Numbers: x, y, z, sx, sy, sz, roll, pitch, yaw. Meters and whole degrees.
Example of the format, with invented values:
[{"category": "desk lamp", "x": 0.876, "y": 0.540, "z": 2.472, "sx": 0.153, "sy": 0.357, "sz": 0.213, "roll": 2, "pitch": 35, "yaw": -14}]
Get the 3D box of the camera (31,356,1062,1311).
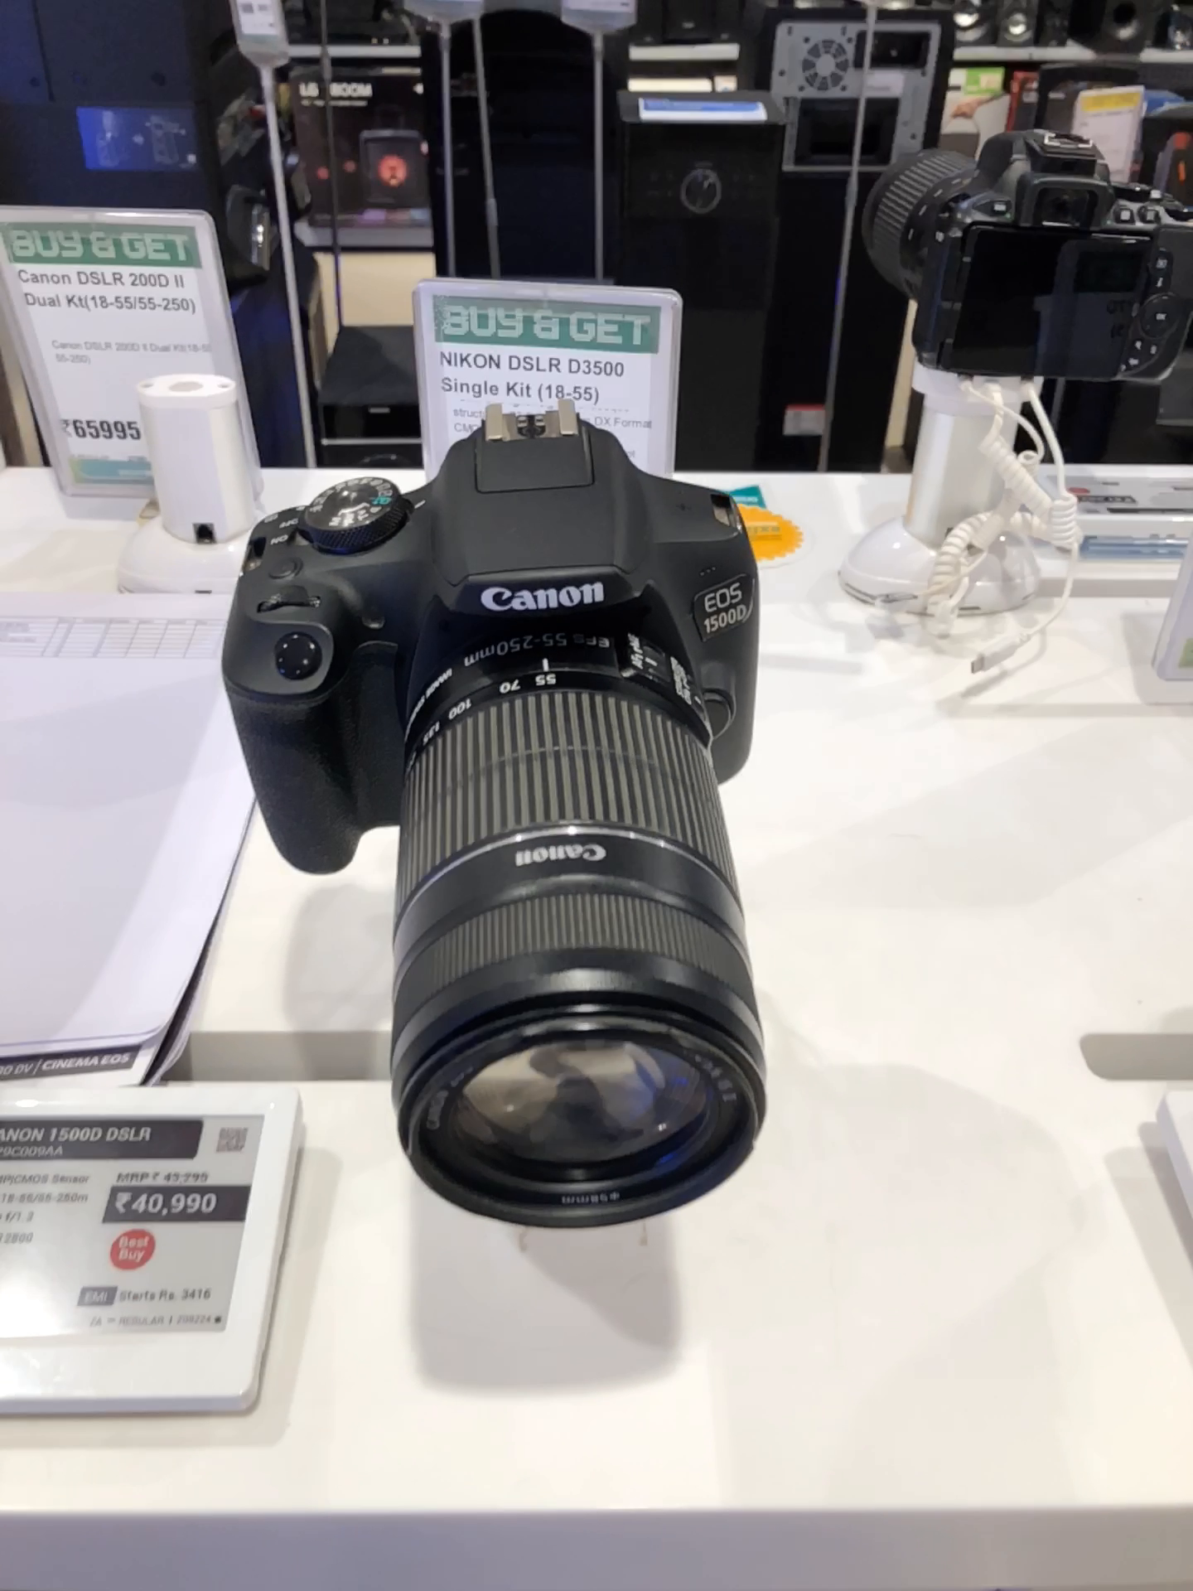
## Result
[{"category": "camera", "x": -0.017, "y": -0.013, "z": 0.284, "sx": 0.140, "sy": 0.089, "sz": 0.201, "roll": -4, "pitch": 38, "yaw": -6}]
